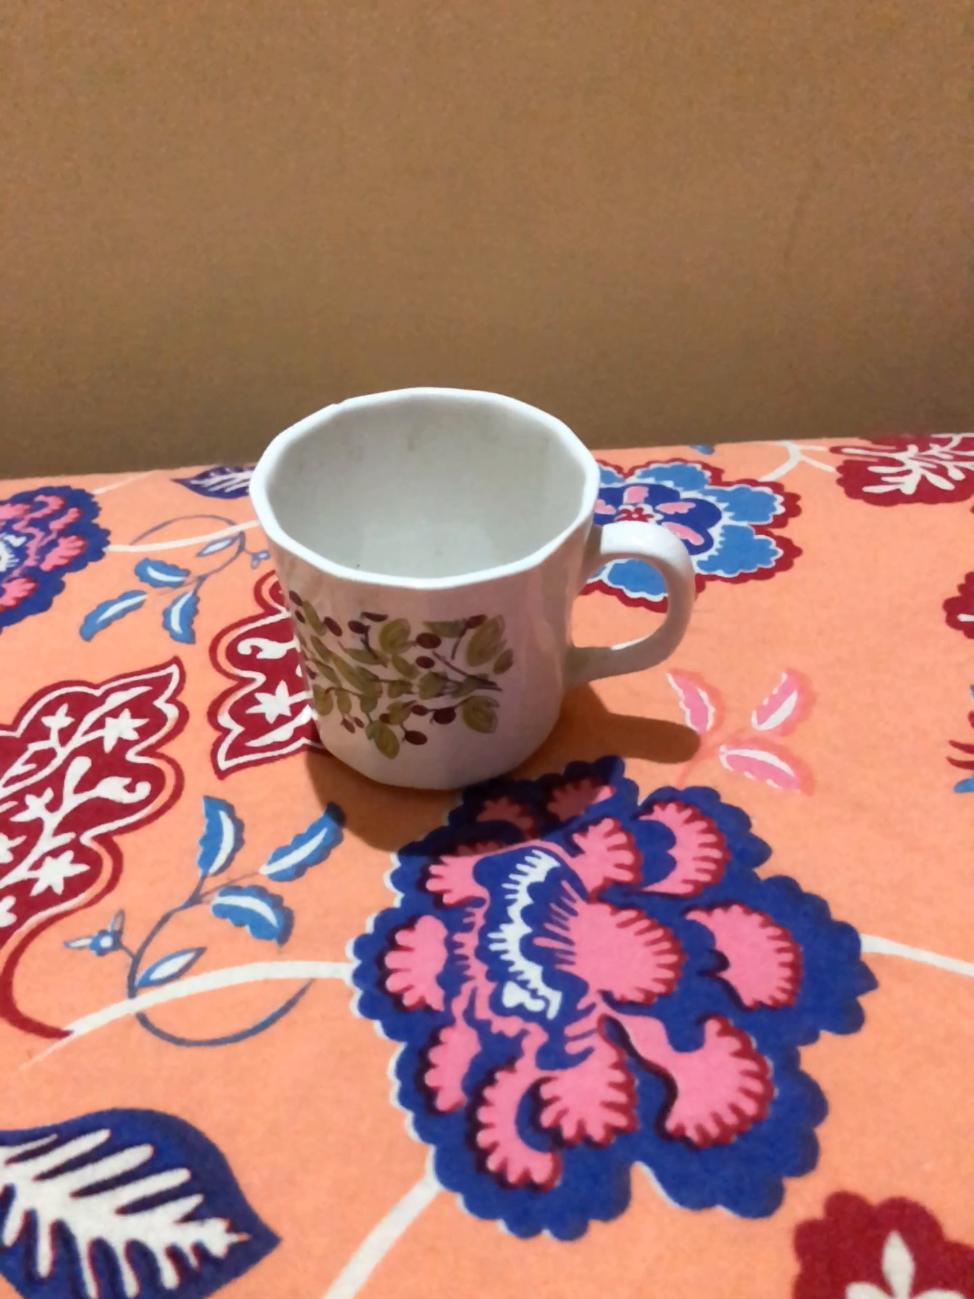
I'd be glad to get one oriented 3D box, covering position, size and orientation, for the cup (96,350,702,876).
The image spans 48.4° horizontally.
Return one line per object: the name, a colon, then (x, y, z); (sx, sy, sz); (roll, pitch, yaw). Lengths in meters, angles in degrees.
cup: (-0.009, -0.009, 0.208); (0.090, 0.070, 0.060); (6, 44, 13)
